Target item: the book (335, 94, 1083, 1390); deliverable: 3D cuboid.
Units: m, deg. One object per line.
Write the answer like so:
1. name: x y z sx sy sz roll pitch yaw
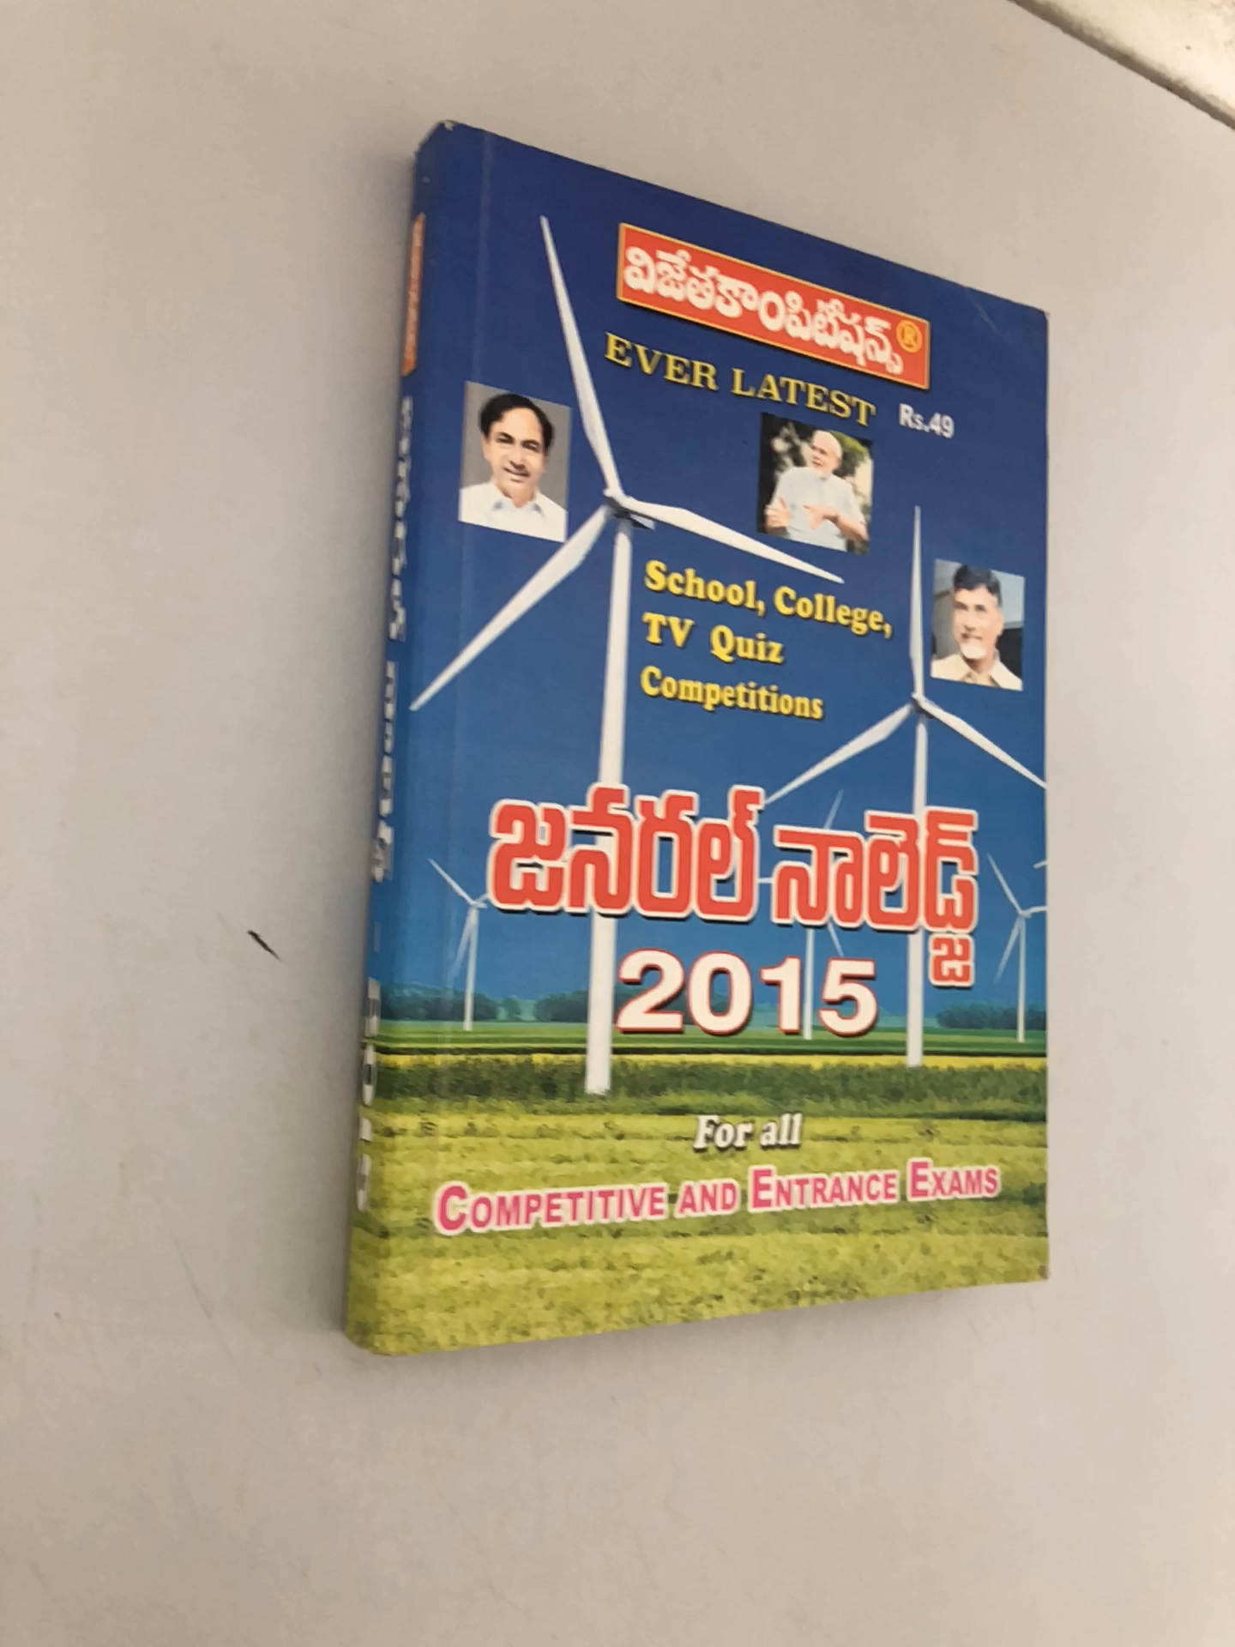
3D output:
1. book: 0.023 -0.010 0.233 0.129 0.022 0.182 5 84 -28
